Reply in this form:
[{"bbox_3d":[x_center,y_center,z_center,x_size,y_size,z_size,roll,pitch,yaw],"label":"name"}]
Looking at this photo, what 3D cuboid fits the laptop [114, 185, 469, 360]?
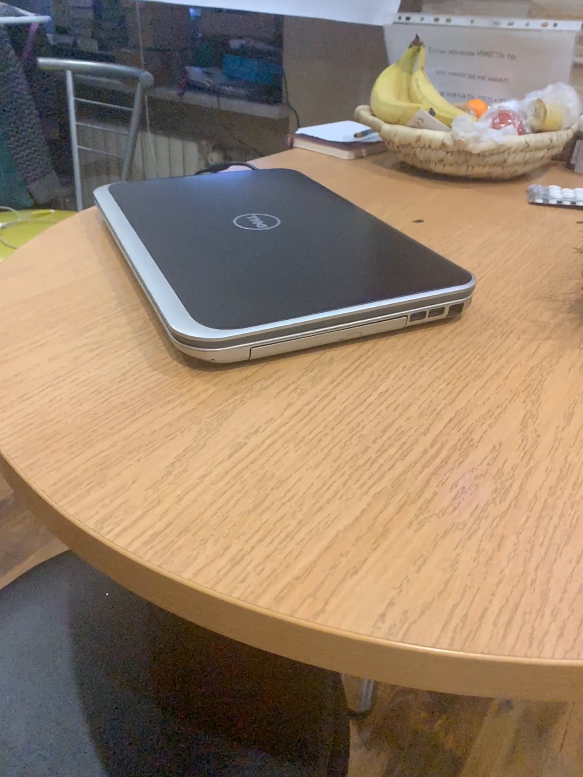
[{"bbox_3d":[-0.031,-0.134,0.567,0.224,0.004,0.351,-13,35,-17],"label":"laptop"}]
